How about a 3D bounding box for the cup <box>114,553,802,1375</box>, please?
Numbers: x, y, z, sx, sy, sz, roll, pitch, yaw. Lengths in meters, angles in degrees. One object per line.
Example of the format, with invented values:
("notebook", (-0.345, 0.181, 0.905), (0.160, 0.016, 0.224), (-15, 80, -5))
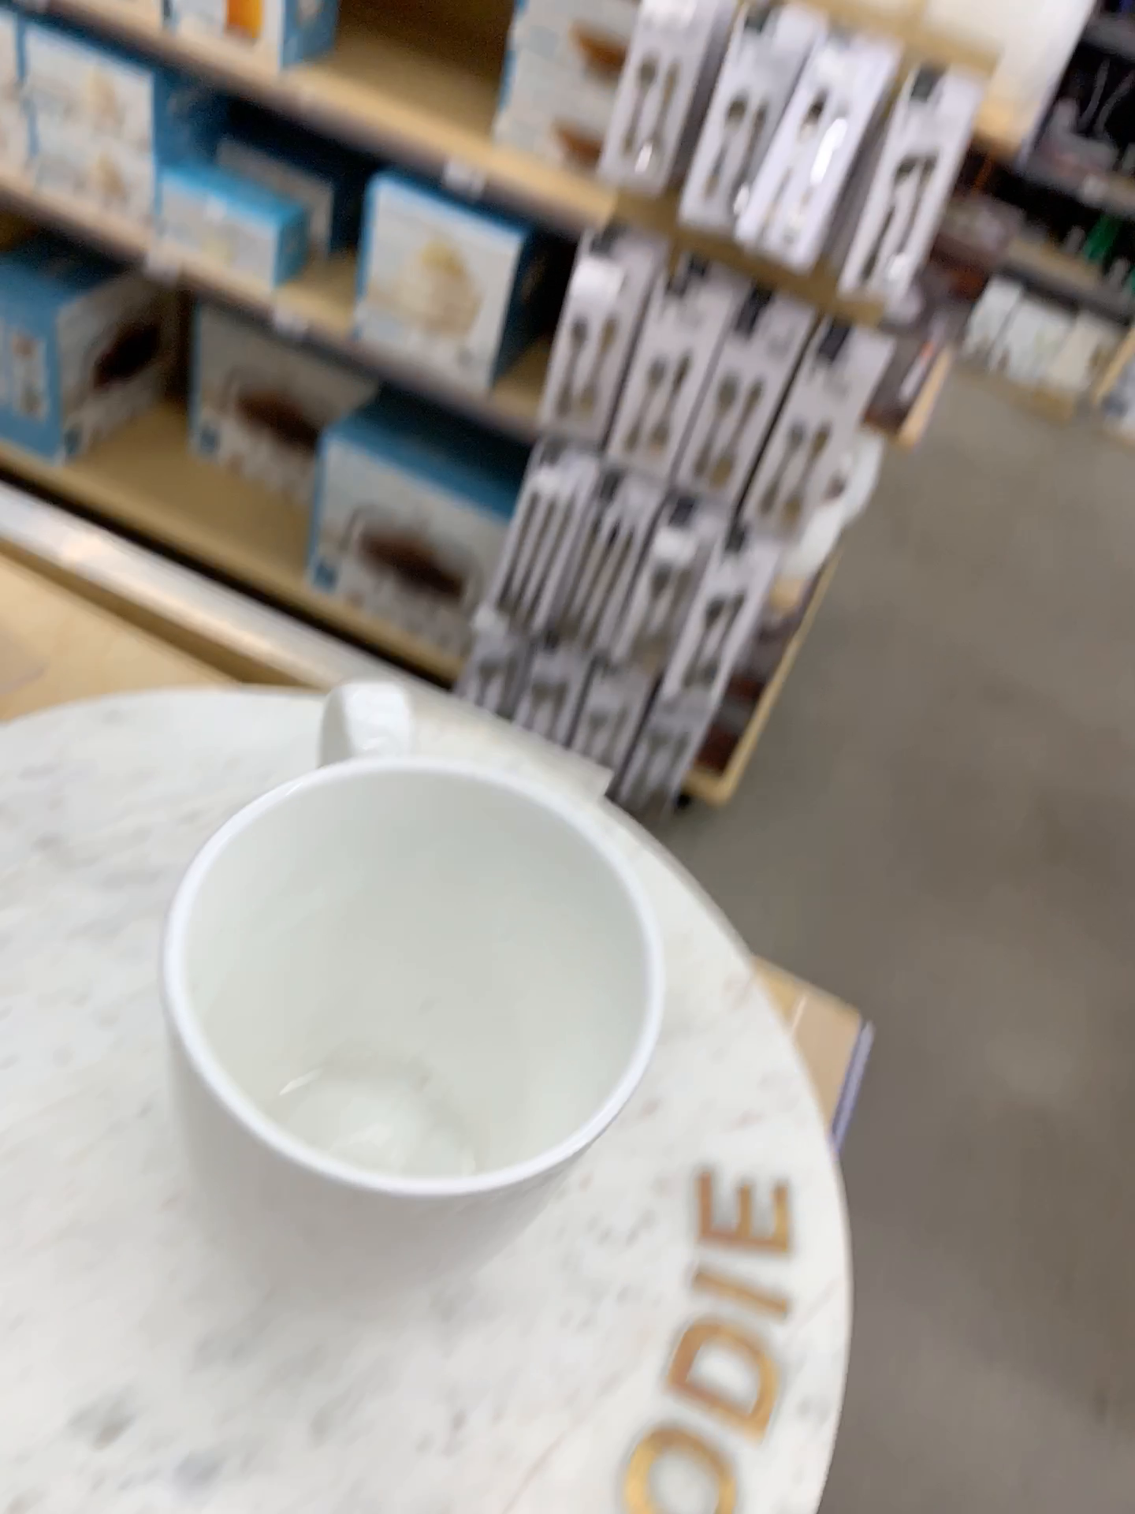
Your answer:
("cup", (-0.036, 0.036, 0.248), (0.096, 0.094, 0.125), (-6, 51, -22))
